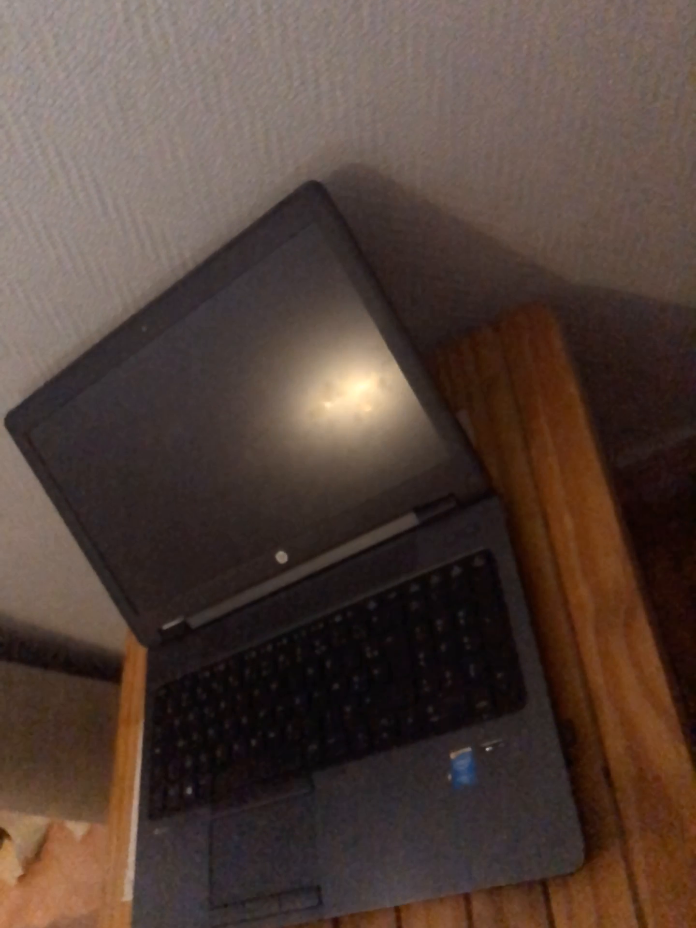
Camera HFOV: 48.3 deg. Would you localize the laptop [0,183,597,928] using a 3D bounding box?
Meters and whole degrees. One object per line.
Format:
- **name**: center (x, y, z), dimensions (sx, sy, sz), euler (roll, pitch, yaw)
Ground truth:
- **laptop**: center (-0.090, 0.090, 0.576), dimensions (0.383, 0.195, 0.410), euler (-28, 48, 27)
